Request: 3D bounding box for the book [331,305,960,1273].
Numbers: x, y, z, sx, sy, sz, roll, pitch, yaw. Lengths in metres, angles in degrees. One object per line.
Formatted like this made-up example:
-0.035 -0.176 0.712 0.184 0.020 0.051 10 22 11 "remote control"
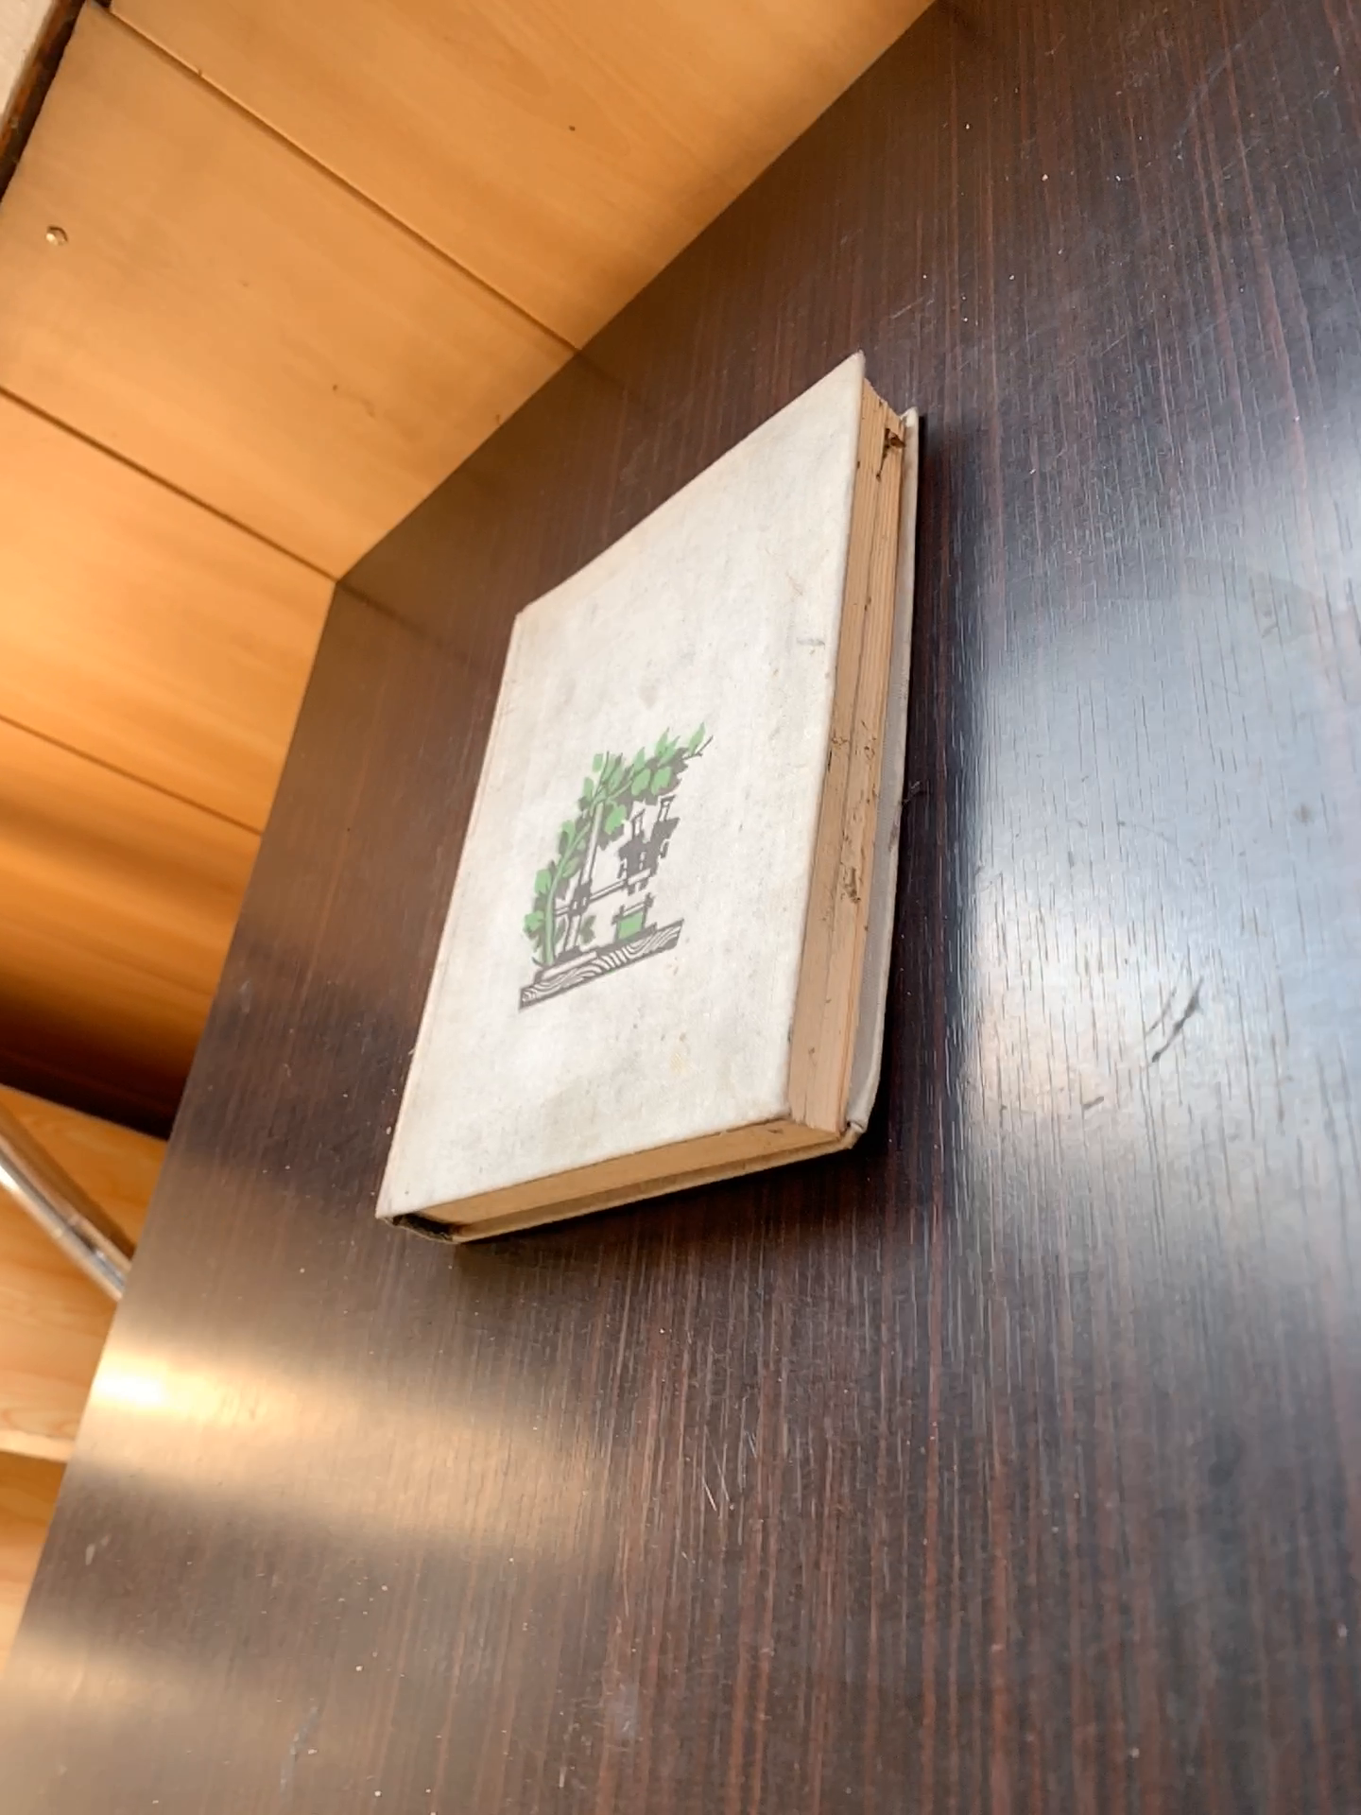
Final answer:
-0.008 -0.019 0.291 0.136 0.027 0.169 -25 47 46 "book"
